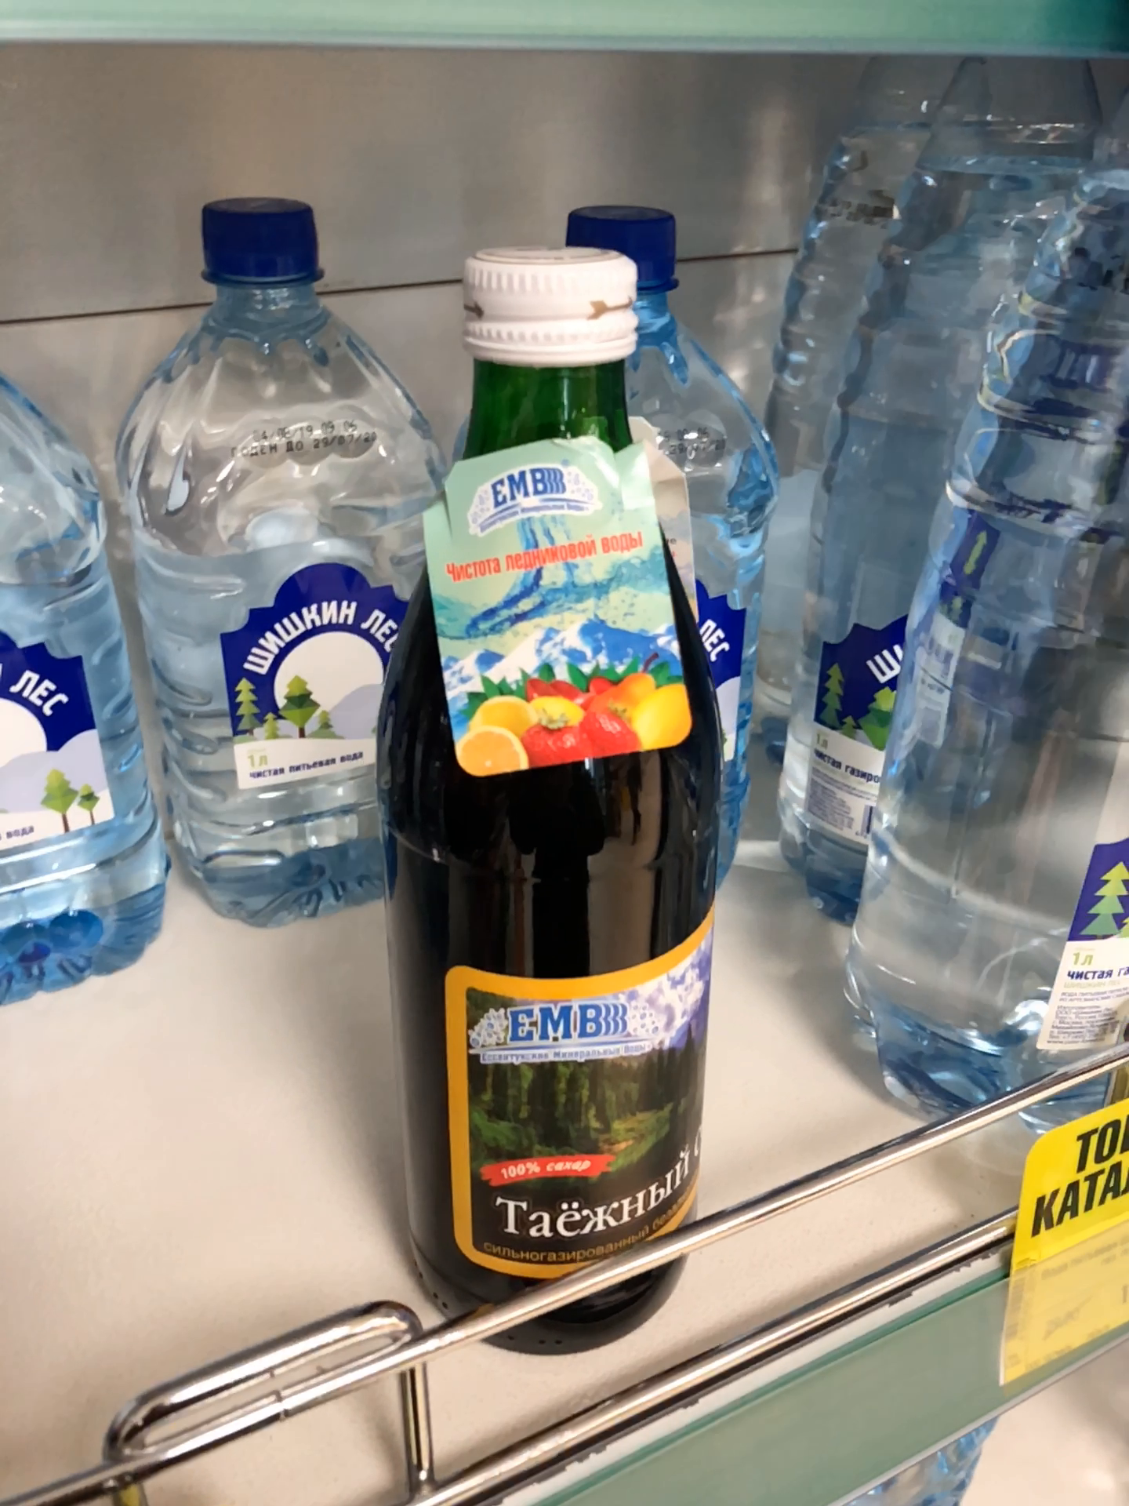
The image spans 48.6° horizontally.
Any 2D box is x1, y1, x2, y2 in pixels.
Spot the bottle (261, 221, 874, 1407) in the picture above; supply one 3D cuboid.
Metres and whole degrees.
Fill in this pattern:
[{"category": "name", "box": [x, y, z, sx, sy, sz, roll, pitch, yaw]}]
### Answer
[{"category": "bottle", "box": [-0.001, 0.018, 0.249, 0.075, 0.219, 0.068, -14, 31, -22]}]
